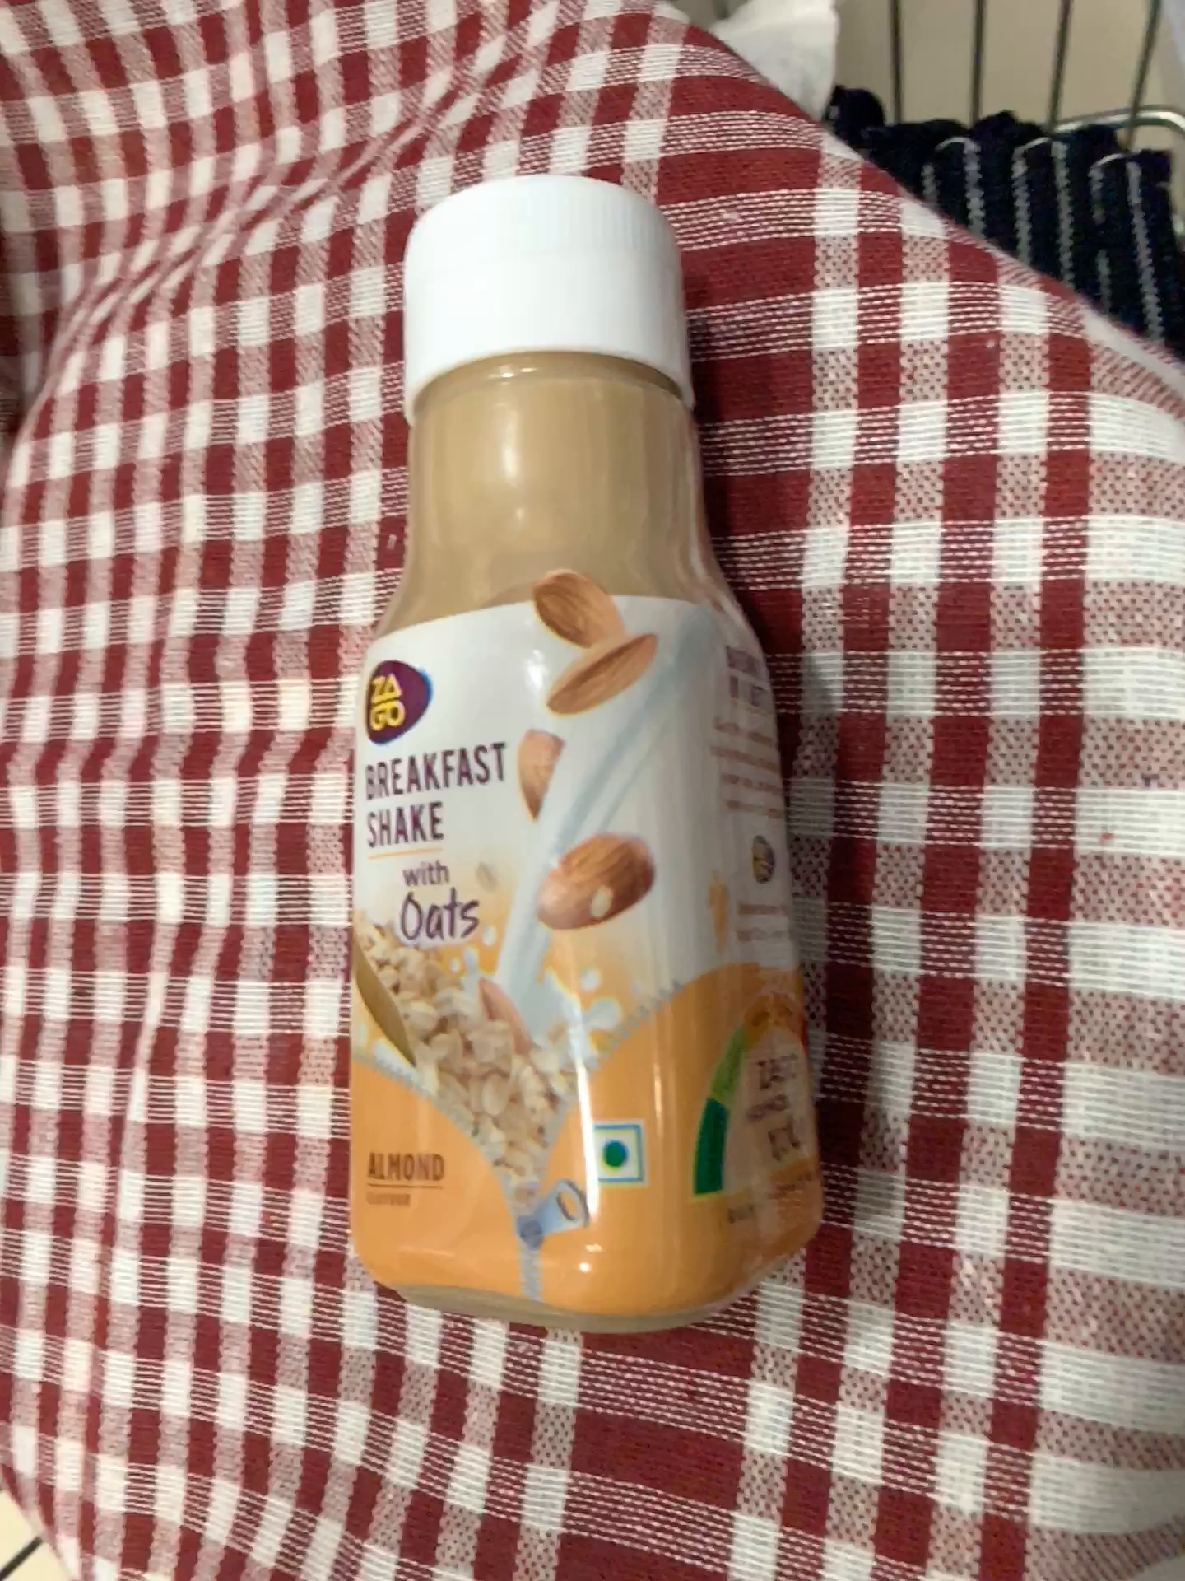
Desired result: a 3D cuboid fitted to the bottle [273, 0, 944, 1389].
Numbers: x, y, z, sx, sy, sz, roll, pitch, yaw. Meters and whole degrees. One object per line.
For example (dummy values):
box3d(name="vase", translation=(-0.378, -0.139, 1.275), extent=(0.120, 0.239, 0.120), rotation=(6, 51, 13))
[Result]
box3d(name="bottle", translation=(0.005, -0.009, 0.157), extent=(0.060, 0.050, 0.140), rotation=(-5, 88, 23))
